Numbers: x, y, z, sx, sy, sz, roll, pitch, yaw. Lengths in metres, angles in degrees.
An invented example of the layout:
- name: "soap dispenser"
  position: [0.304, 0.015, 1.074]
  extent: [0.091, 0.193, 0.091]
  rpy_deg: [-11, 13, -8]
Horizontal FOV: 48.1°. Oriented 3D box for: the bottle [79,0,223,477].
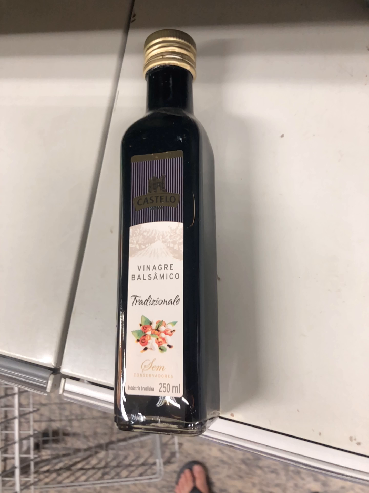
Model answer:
- name: "bottle"
  position: [-0.013, -0.017, 0.236]
  extent: [0.060, 0.060, 0.250]
  rpy_deg: [-1, 82, 15]
